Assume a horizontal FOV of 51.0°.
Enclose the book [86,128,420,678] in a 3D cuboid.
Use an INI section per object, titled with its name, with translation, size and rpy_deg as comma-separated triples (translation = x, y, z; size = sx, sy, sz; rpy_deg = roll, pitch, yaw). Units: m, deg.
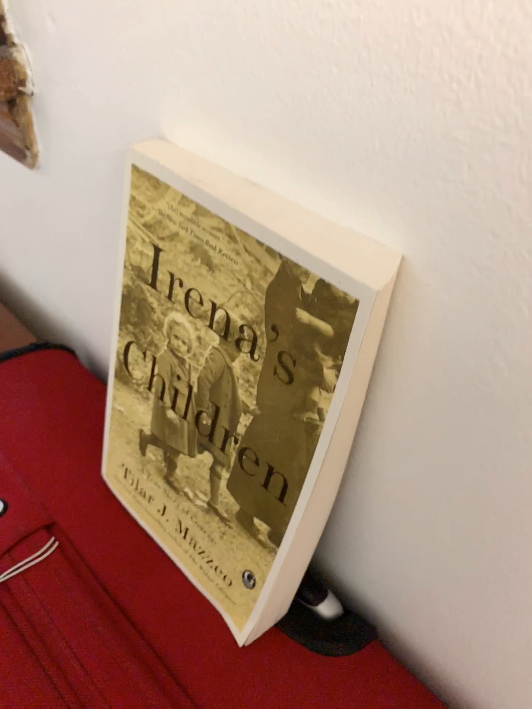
[book]
translation = -0.035, 0.027, 0.285
size = 0.030, 0.228, 0.171
rpy_deg = -20, 44, -40
